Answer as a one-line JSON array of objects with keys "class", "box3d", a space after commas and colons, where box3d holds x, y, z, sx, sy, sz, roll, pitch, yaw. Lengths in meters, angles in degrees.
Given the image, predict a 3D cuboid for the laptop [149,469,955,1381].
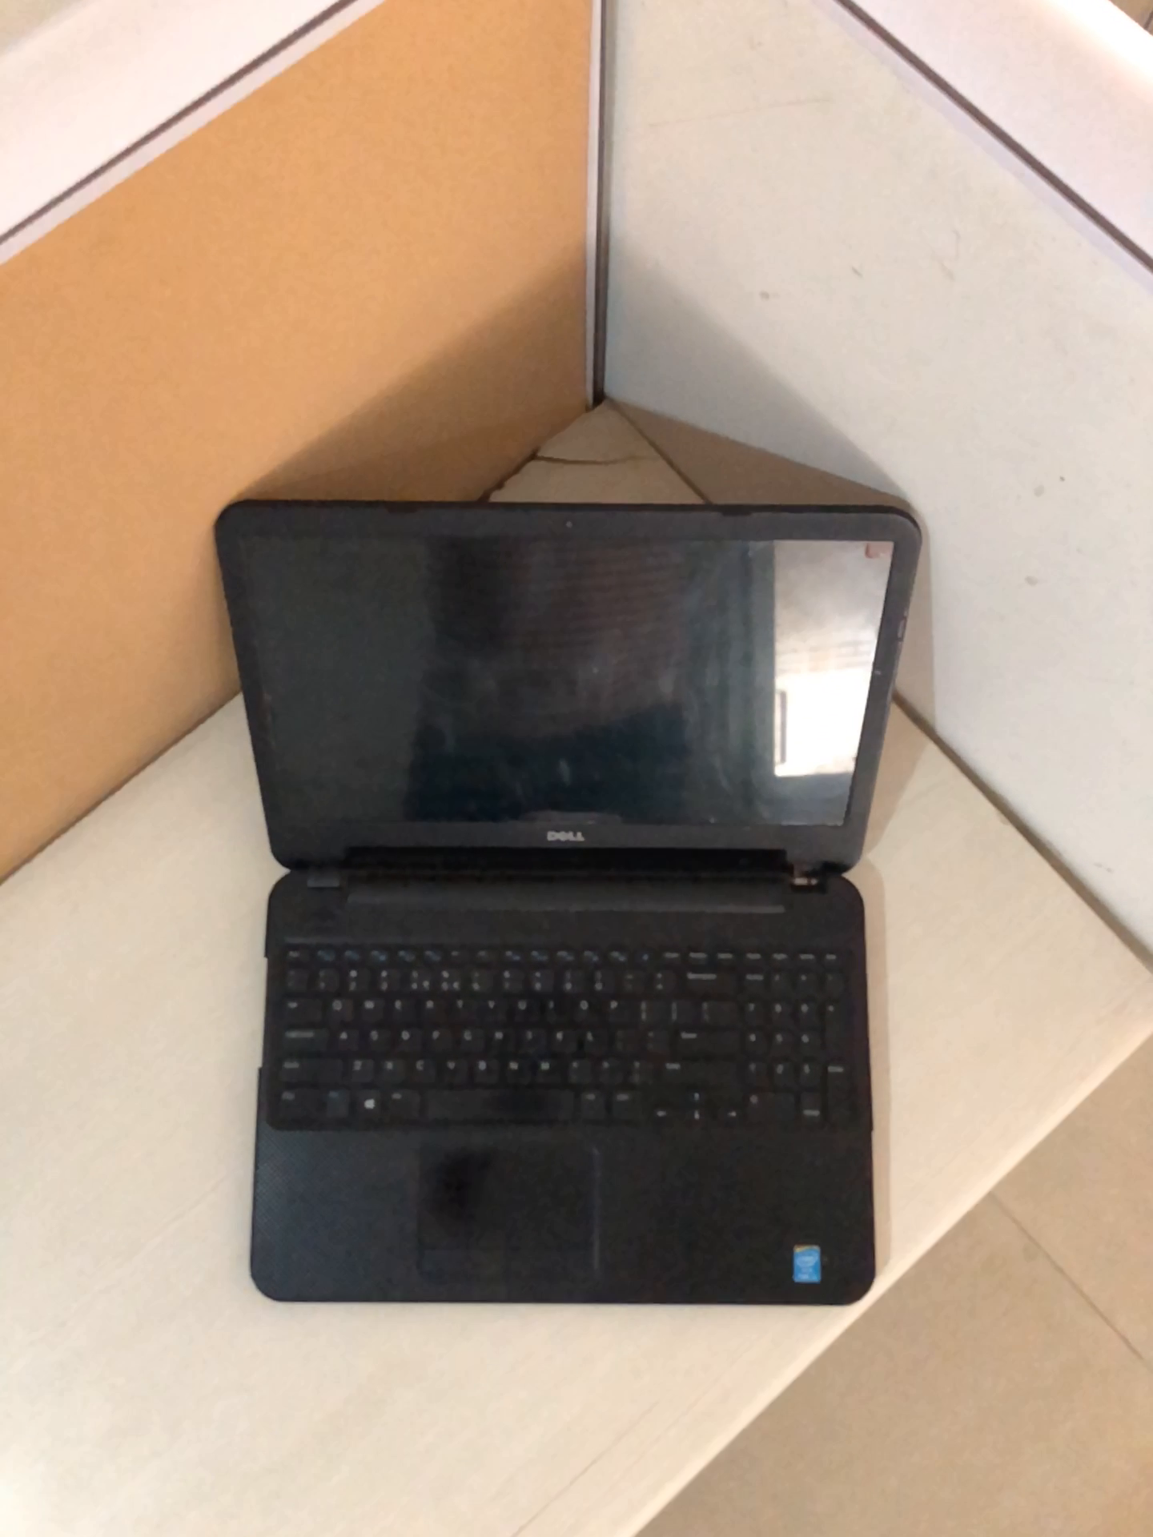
[{"class": "laptop", "box3d": [-0.008, 0.079, 0.679, 0.352, 0.175, 0.413, 1, 79, 0]}]
